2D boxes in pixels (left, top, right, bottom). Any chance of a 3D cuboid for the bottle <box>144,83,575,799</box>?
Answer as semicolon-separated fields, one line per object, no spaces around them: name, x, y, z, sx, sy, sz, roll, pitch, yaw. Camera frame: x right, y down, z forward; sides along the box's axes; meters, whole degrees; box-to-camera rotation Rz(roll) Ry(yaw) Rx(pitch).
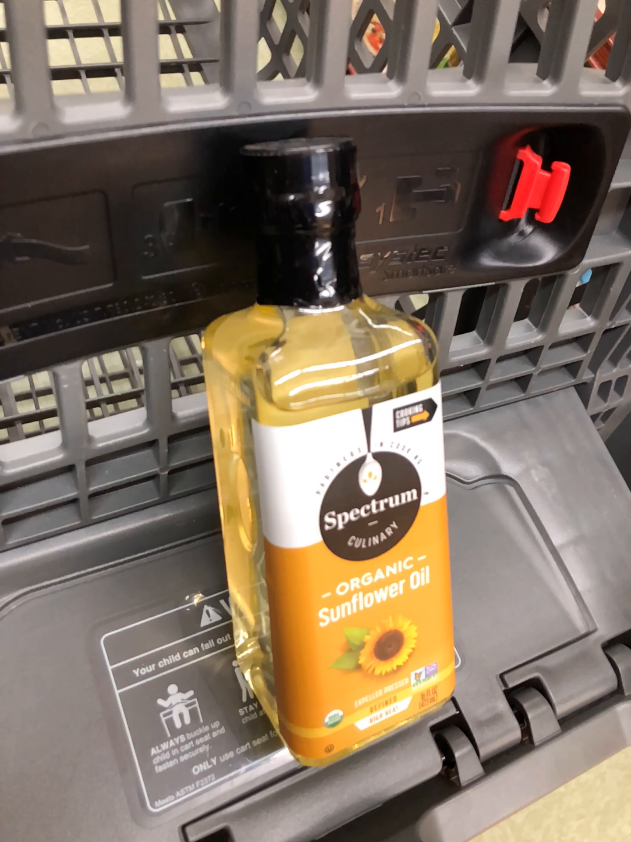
bottle;0.011;0.009;0.218;0.080;0.200;0.070;-16;32;-23
